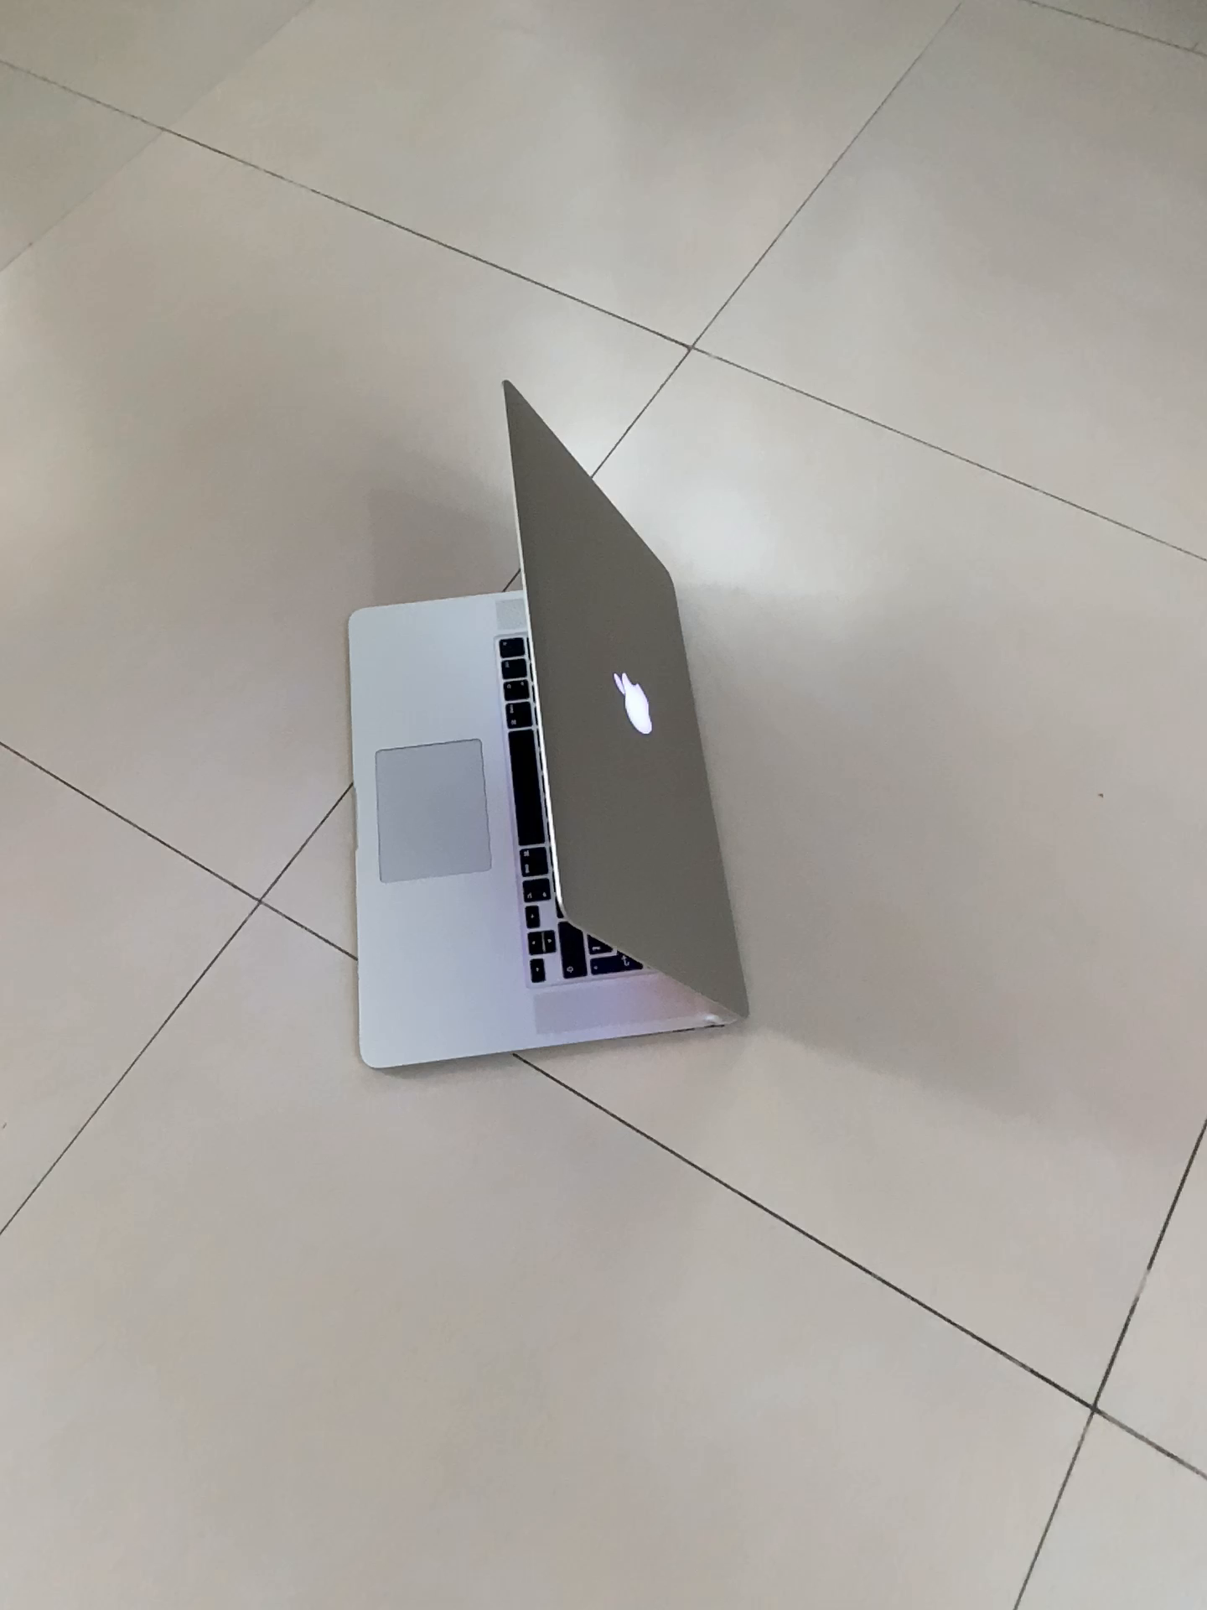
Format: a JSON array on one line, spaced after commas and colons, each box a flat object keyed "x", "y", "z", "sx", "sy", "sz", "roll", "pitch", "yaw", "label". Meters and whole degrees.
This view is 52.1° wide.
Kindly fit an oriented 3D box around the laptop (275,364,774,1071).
[{"x": -0.057, "y": -0.052, "z": 0.767, "sx": 0.241, "sy": 0.208, "sz": 0.360, "roll": -7, "pitch": 63, "yaw": -2, "label": "laptop"}]
